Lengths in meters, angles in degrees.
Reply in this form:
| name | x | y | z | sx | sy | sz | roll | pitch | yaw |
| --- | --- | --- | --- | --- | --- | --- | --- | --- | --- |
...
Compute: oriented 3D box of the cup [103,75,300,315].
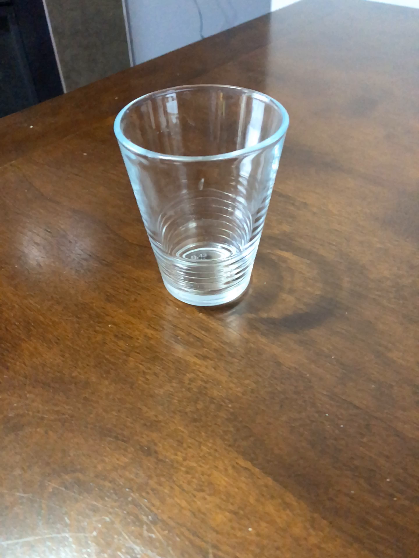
| name | x | y | z | sx | sy | sz | roll | pitch | yaw |
| --- | --- | --- | --- | --- | --- | --- | --- | --- | --- |
| cup | -0.004 | -0.043 | 0.249 | 0.080 | 0.100 | 0.070 | -3 | 42 | -2 |
